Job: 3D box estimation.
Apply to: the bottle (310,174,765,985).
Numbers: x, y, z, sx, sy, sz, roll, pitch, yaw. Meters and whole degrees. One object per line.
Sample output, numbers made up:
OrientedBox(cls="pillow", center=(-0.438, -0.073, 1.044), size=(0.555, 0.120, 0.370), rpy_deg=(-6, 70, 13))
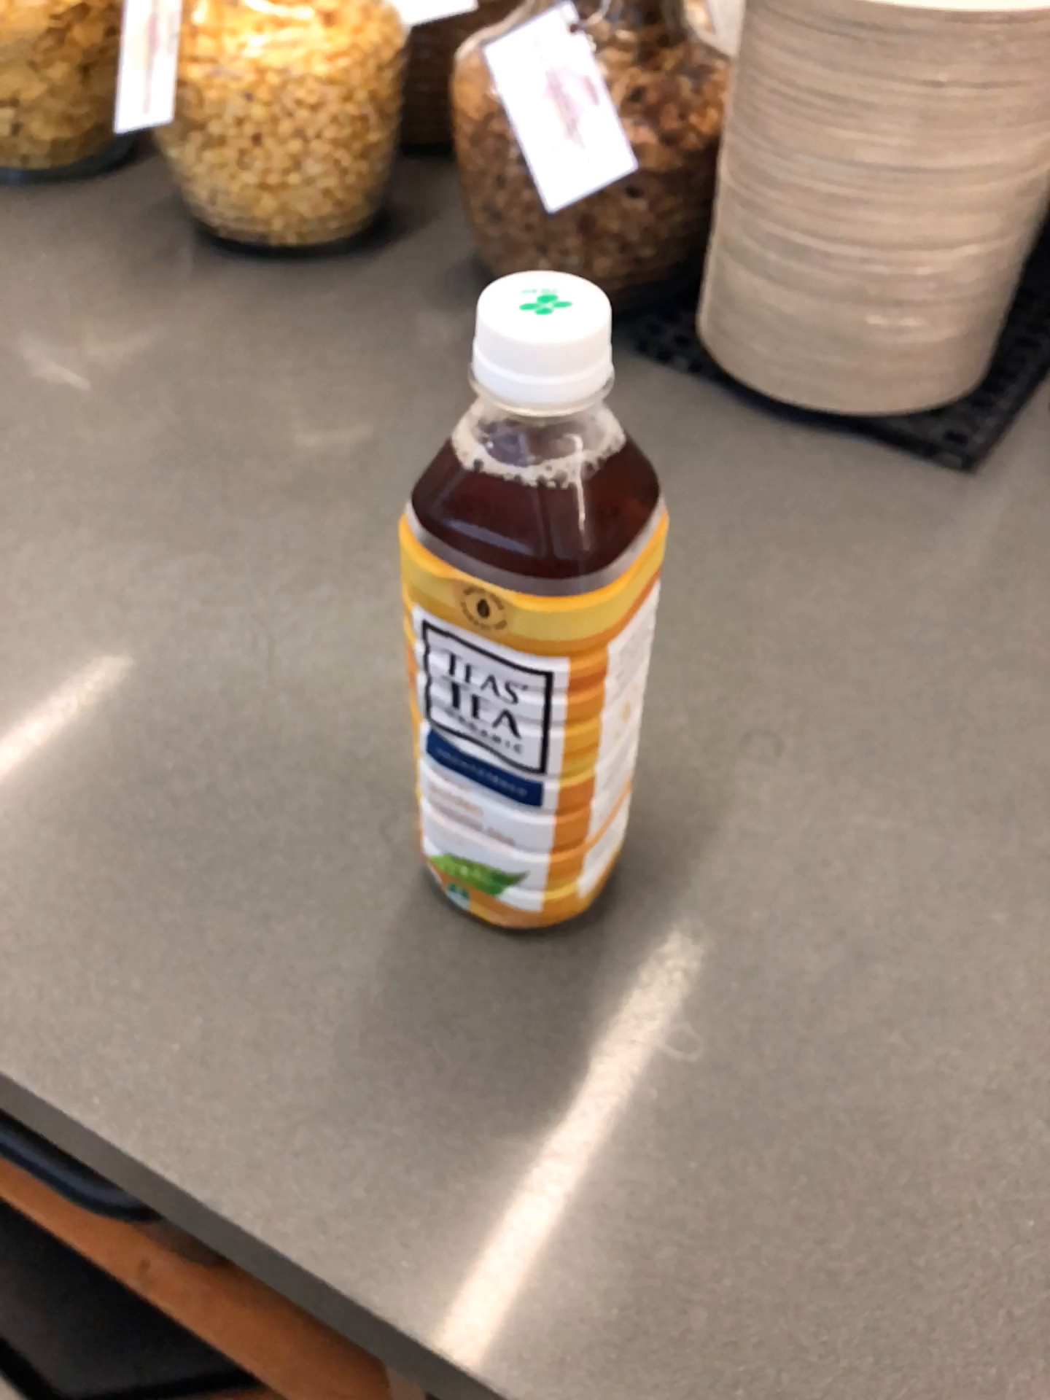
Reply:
OrientedBox(cls="bottle", center=(0.002, -0.019, 0.314), size=(0.070, 0.199, 0.070), rpy_deg=(1, 46, -1))
